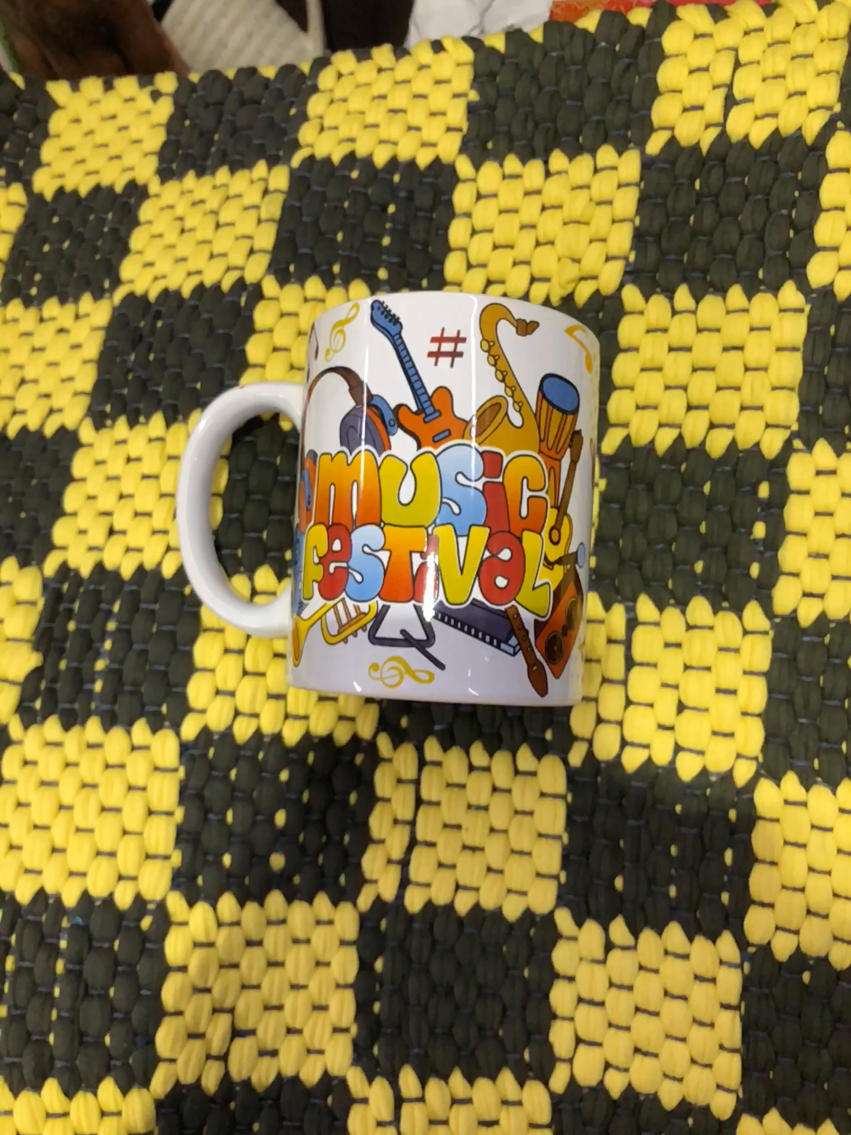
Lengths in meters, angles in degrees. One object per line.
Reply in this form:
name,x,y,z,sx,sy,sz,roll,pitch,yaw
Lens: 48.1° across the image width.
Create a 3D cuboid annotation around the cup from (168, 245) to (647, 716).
cup,-0.003,-0.014,0.255,0.100,0.070,0.100,-6,79,33
